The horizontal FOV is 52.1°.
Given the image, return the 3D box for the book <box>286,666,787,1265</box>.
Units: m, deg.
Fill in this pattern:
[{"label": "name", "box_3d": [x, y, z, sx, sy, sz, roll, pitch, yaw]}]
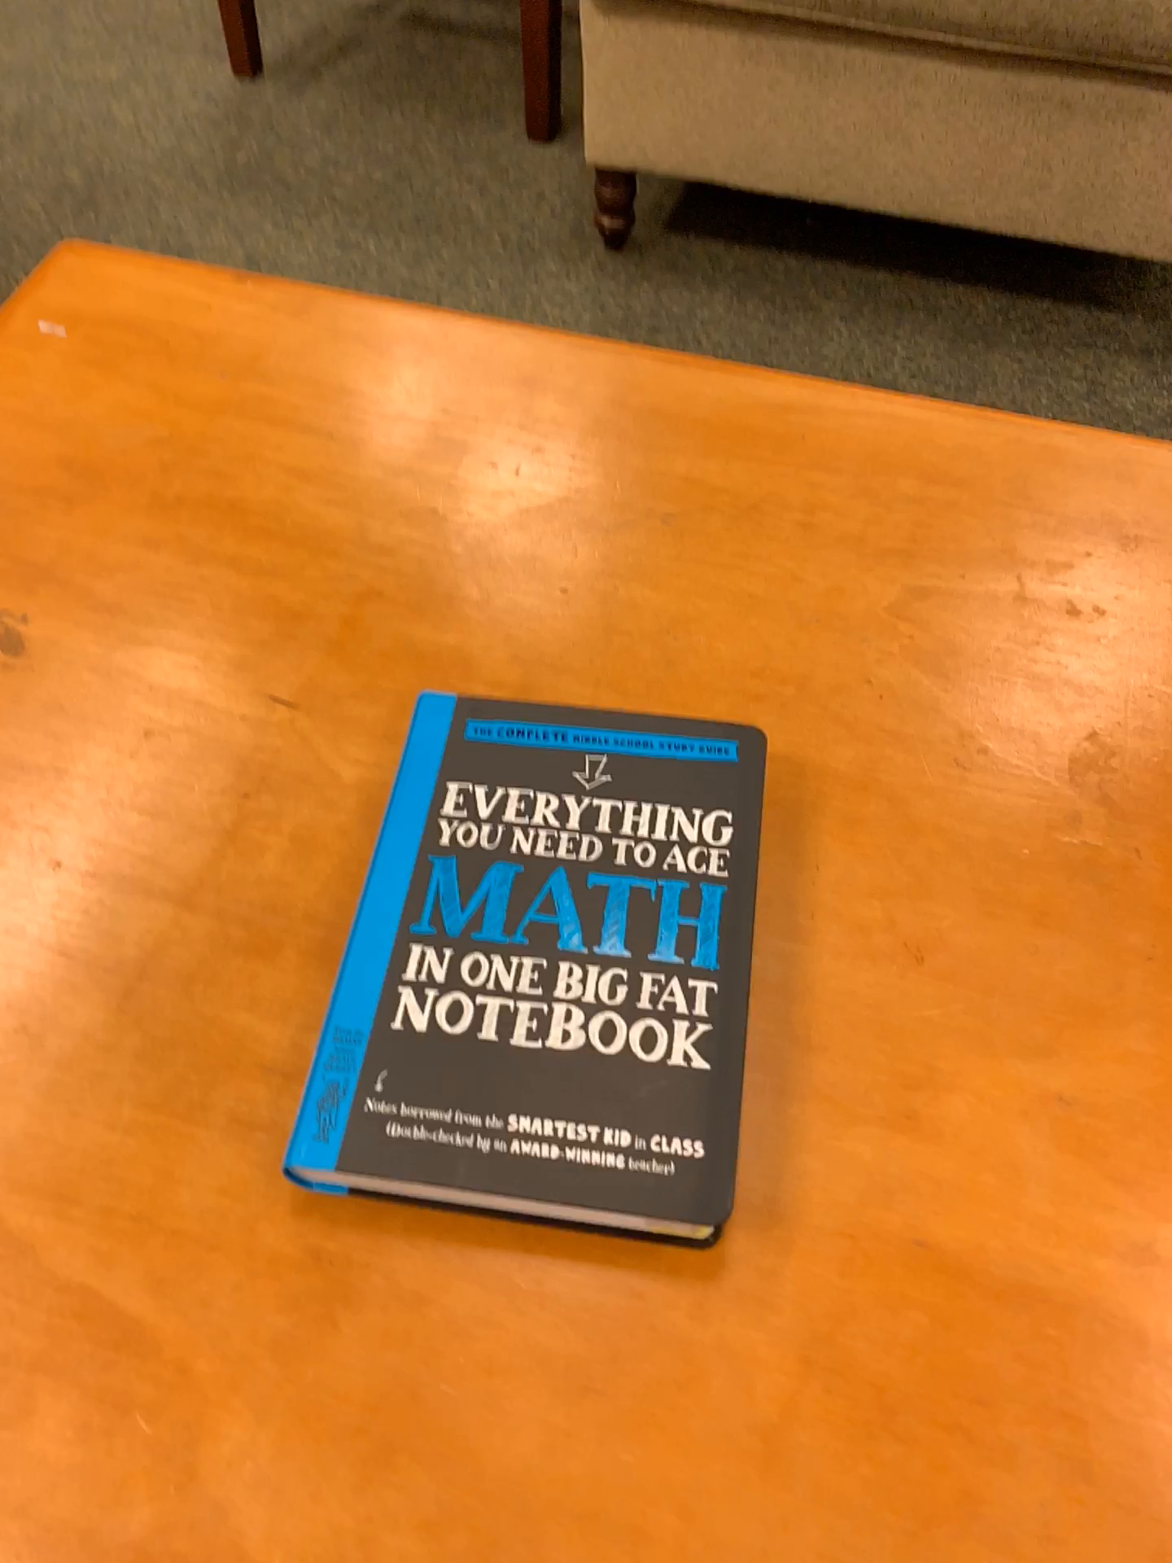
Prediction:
[{"label": "book", "box_3d": [-0.009, 0.064, 0.469, 0.157, 0.050, 0.208, 7, 61, 3]}]
